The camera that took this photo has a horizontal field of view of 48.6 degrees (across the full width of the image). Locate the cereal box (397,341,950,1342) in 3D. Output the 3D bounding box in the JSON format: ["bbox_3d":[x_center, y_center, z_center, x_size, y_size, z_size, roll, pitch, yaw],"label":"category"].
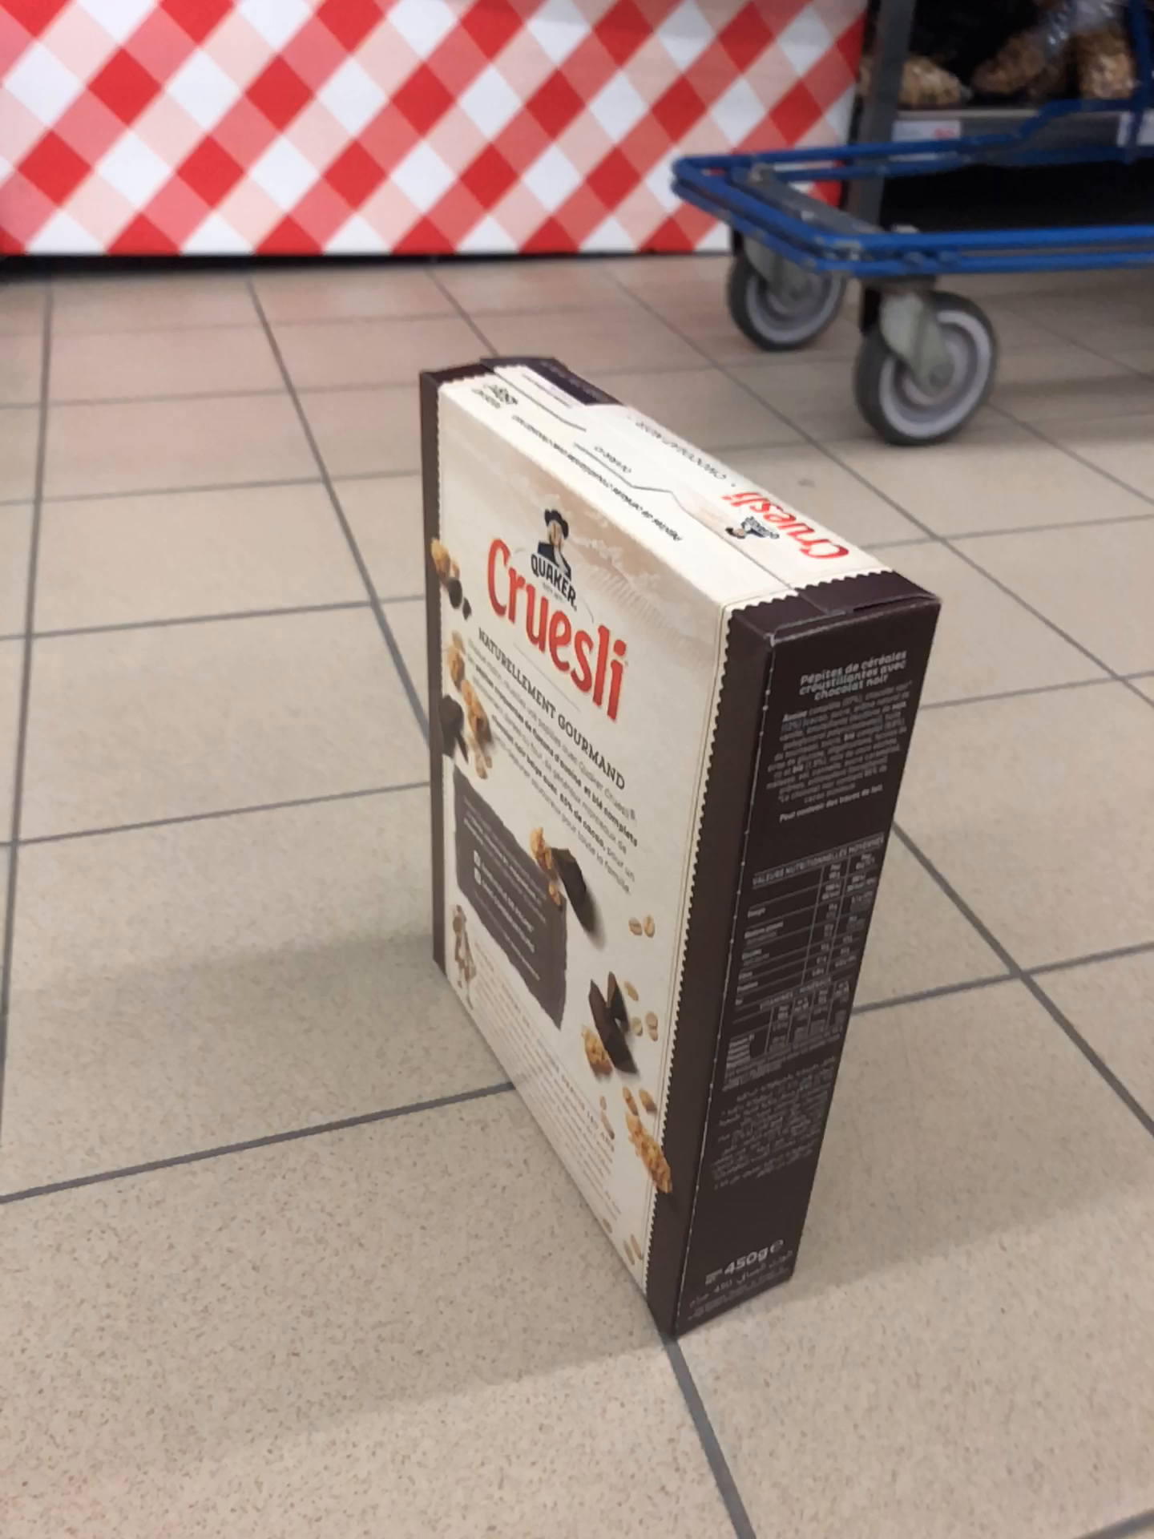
[{"bbox_3d":[0.006,0.016,0.401,0.050,0.239,0.201,-14,37,-24],"label":"cereal box"}]
